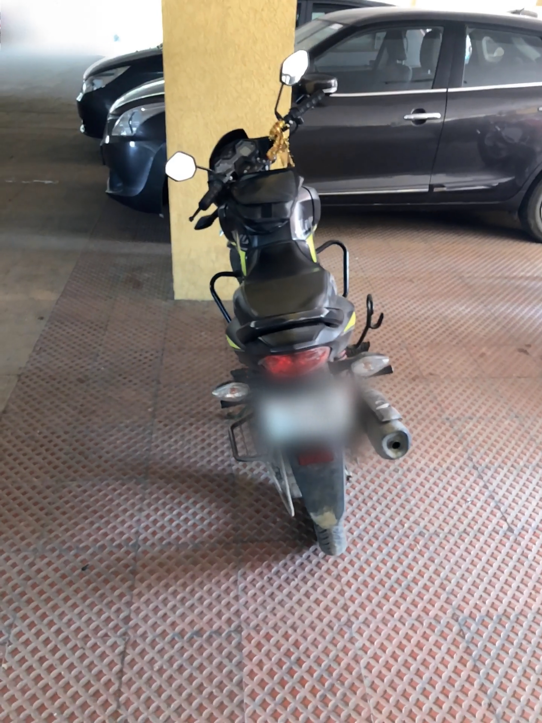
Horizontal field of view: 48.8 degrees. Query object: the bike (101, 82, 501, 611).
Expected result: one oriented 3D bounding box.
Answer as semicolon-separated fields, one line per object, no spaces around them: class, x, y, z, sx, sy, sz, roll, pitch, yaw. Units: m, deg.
bike;-0.012;-0.244;2.030;0.716;1.088;1.629;-1;31;-5
